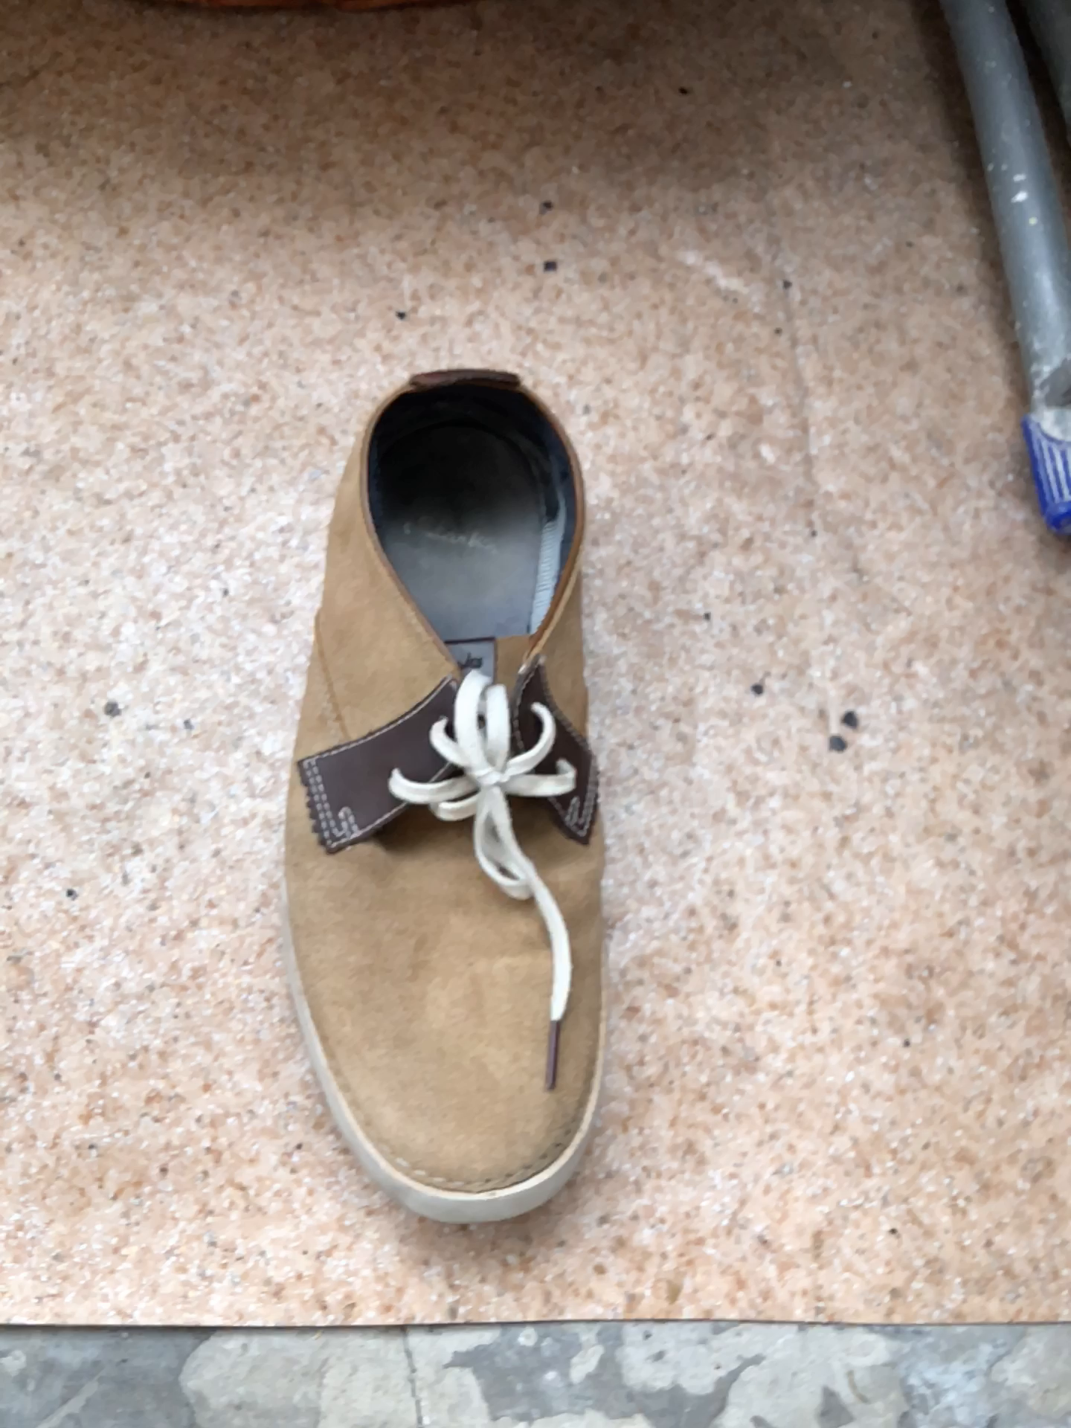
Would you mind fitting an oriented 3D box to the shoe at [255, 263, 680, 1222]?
[{"bbox_3d":[-0.024,0.004,0.400,0.110,0.090,0.301,1,70,-6],"label":"shoe"}]
